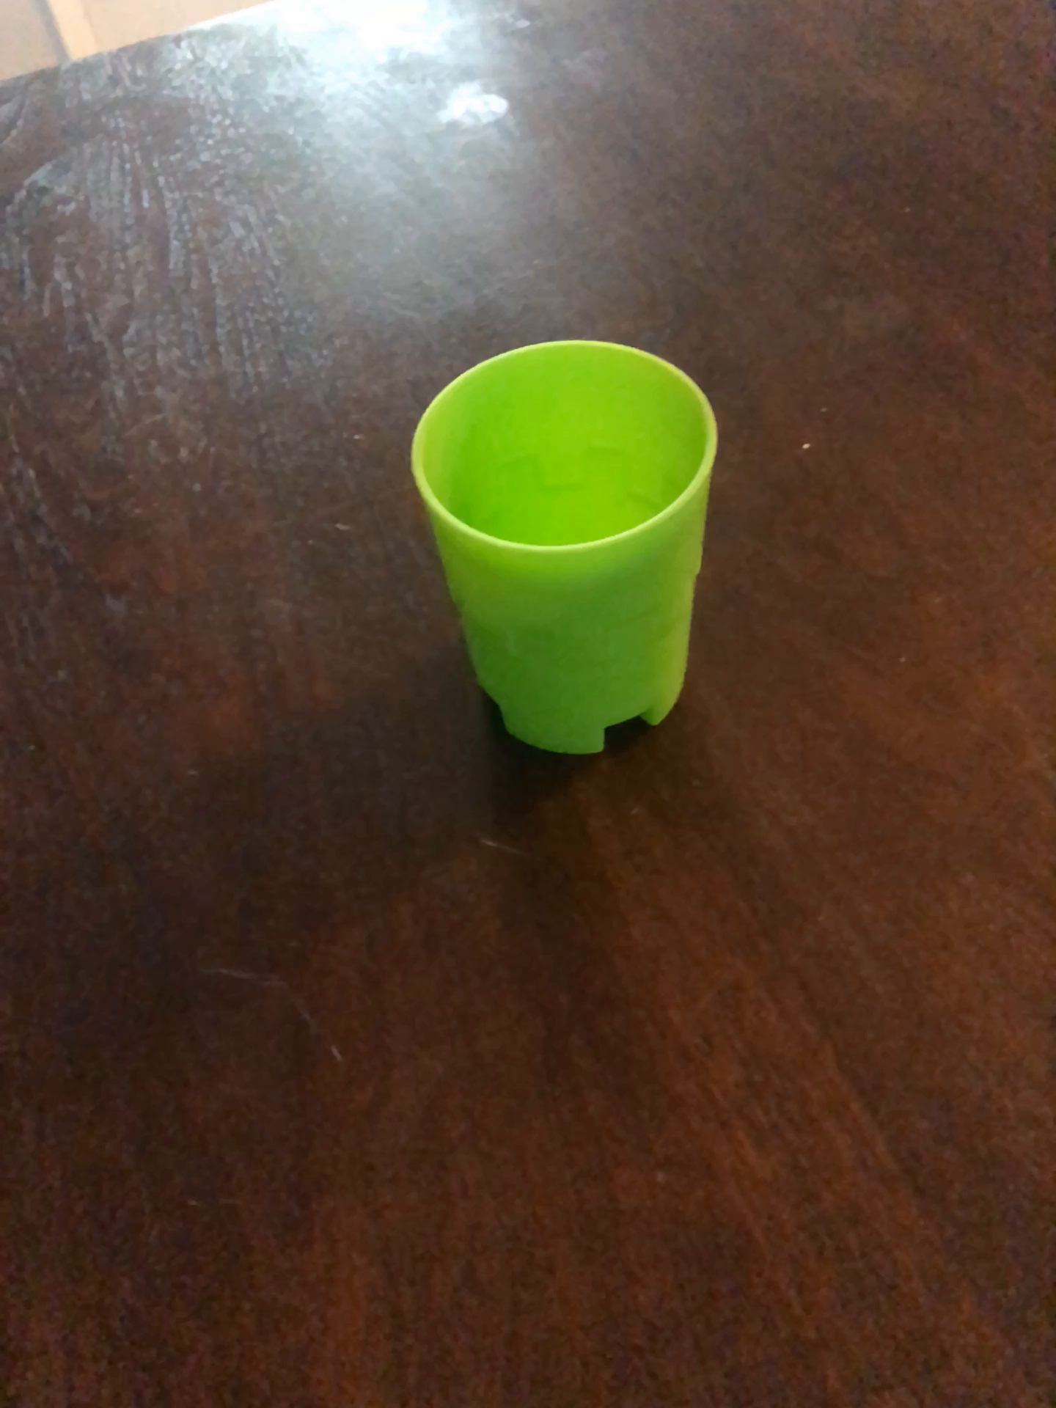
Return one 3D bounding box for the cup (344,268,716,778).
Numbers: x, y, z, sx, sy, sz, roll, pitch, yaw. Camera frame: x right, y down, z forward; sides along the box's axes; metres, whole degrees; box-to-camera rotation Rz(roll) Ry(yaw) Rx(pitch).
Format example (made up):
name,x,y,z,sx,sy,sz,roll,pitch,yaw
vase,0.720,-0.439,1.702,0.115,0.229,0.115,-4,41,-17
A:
name,x,y,z,sx,sy,sz,roll,pitch,yaw
cup,0.001,-0.041,0.287,0.070,0.090,0.070,-3,54,4
